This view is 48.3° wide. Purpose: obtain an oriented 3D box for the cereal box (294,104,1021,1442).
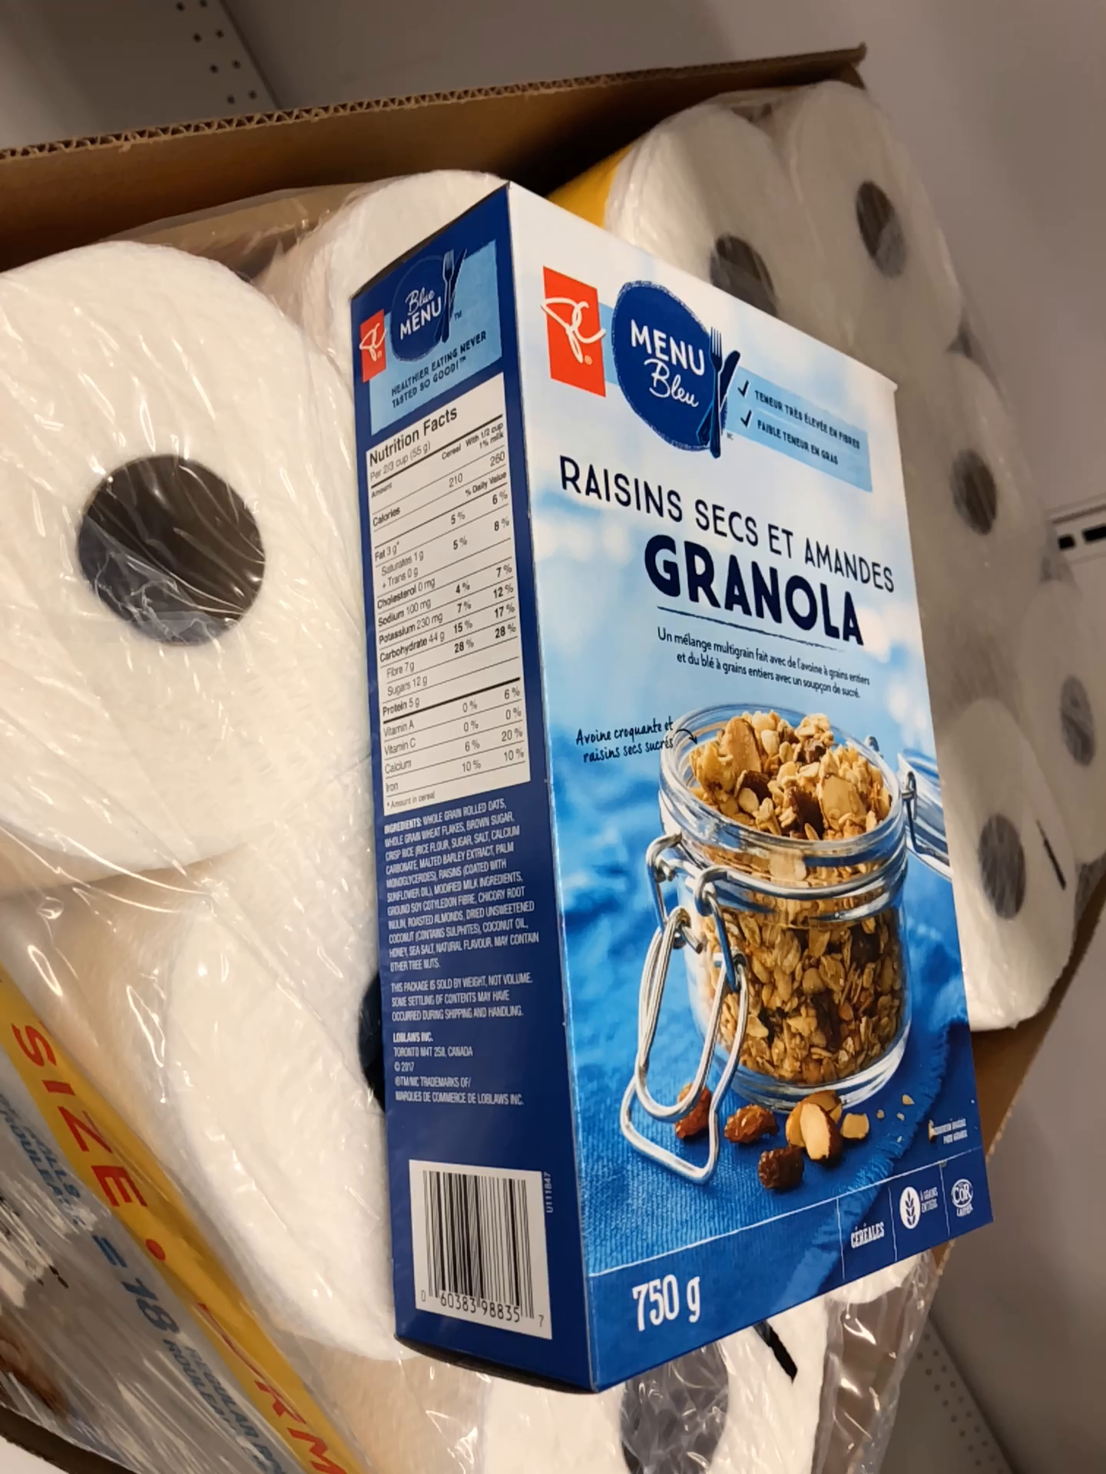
[{"bbox_3d":[0.030,0.006,0.306,0.171,0.060,0.250,7,74,-44],"label":"cereal box"}]
